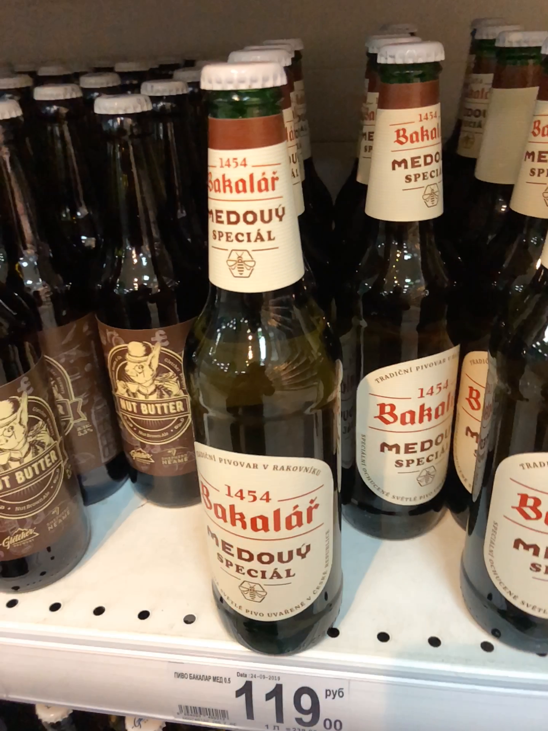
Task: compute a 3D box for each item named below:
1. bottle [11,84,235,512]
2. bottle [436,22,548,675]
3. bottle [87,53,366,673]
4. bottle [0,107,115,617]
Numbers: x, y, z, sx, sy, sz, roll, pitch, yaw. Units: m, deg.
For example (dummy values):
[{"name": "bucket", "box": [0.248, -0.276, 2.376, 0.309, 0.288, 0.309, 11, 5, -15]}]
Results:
[{"name": "bottle", "box": [-0.072, -0.029, 0.345, 0.069, 0.231, 0.061, 2, 29, 10]}, {"name": "bottle", "box": [0.109, 0.009, 0.241, 0.065, 0.249, 0.061, -3, 29, 1]}, {"name": "bottle", "box": [-0.005, 0.012, 0.255, 0.070, 0.249, 0.066, -3, 29, 1]}, {"name": "bottle", "box": [-0.142, 0.006, 0.296, 0.069, 0.233, 0.061, -20, 33, -28]}]
